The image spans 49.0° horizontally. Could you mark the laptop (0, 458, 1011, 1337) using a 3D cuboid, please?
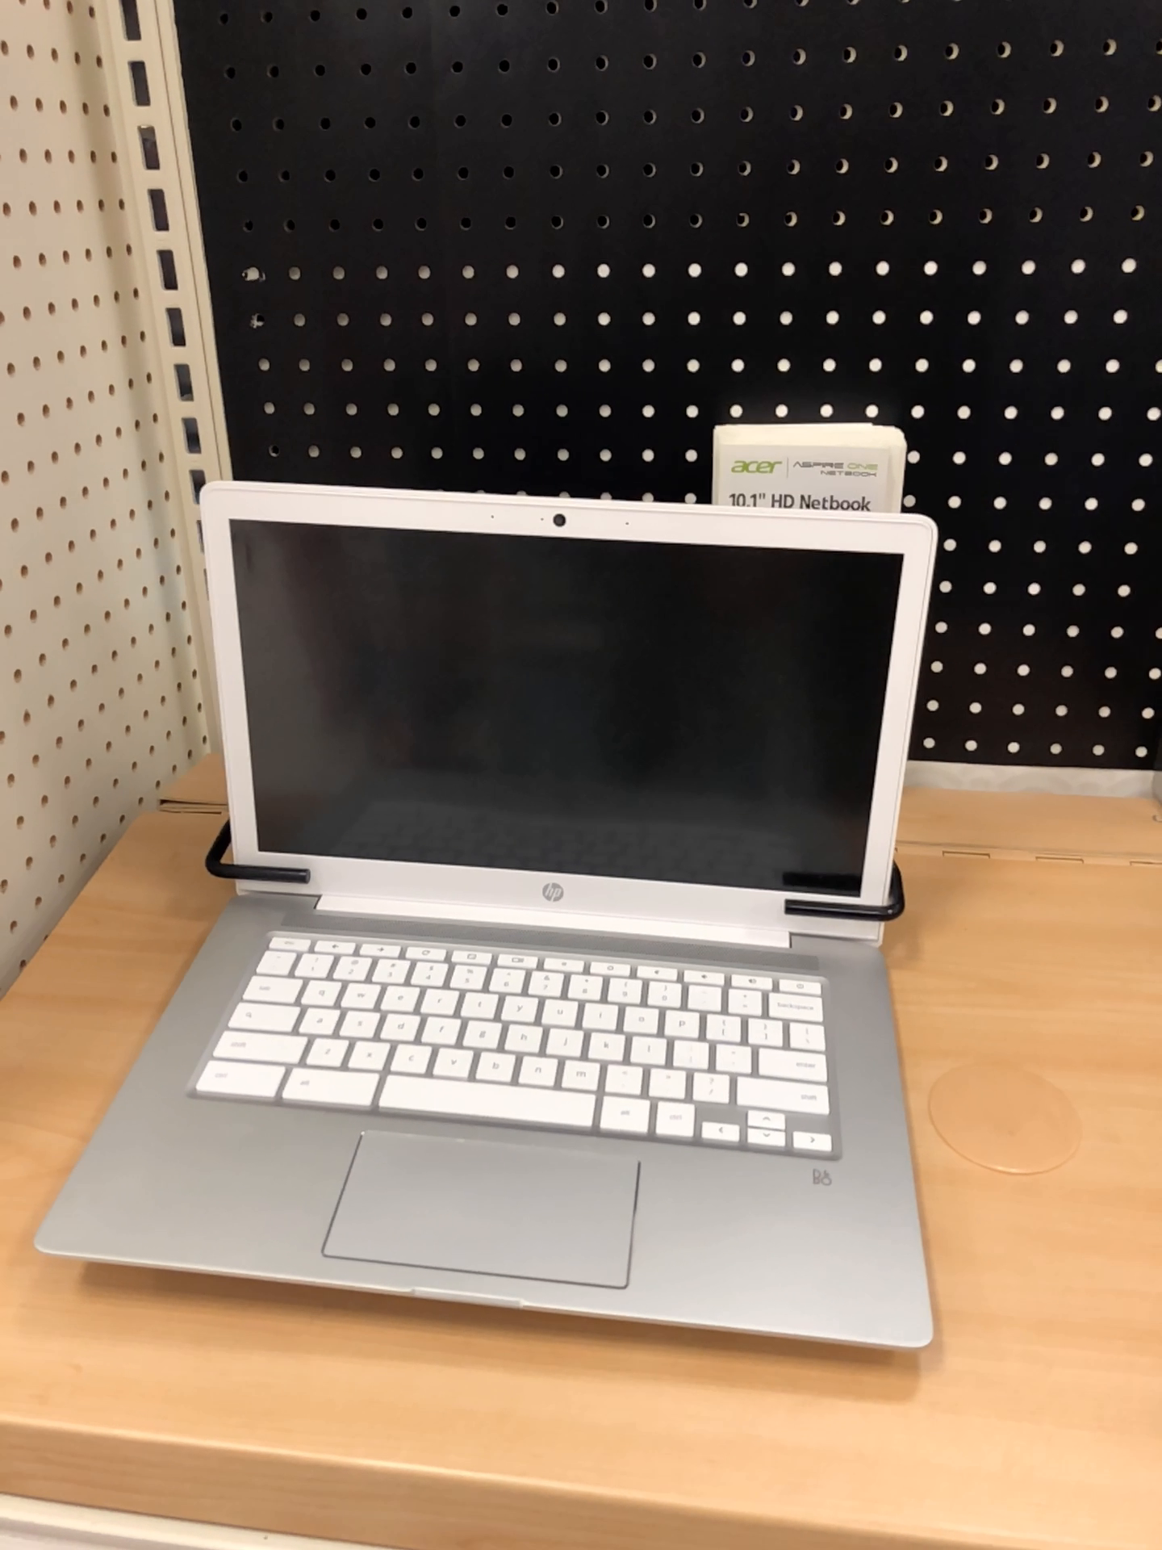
[{"bbox_3d":[-0.025,0.021,0.536,0.333,0.198,0.281,3,30,5],"label":"laptop"}]
